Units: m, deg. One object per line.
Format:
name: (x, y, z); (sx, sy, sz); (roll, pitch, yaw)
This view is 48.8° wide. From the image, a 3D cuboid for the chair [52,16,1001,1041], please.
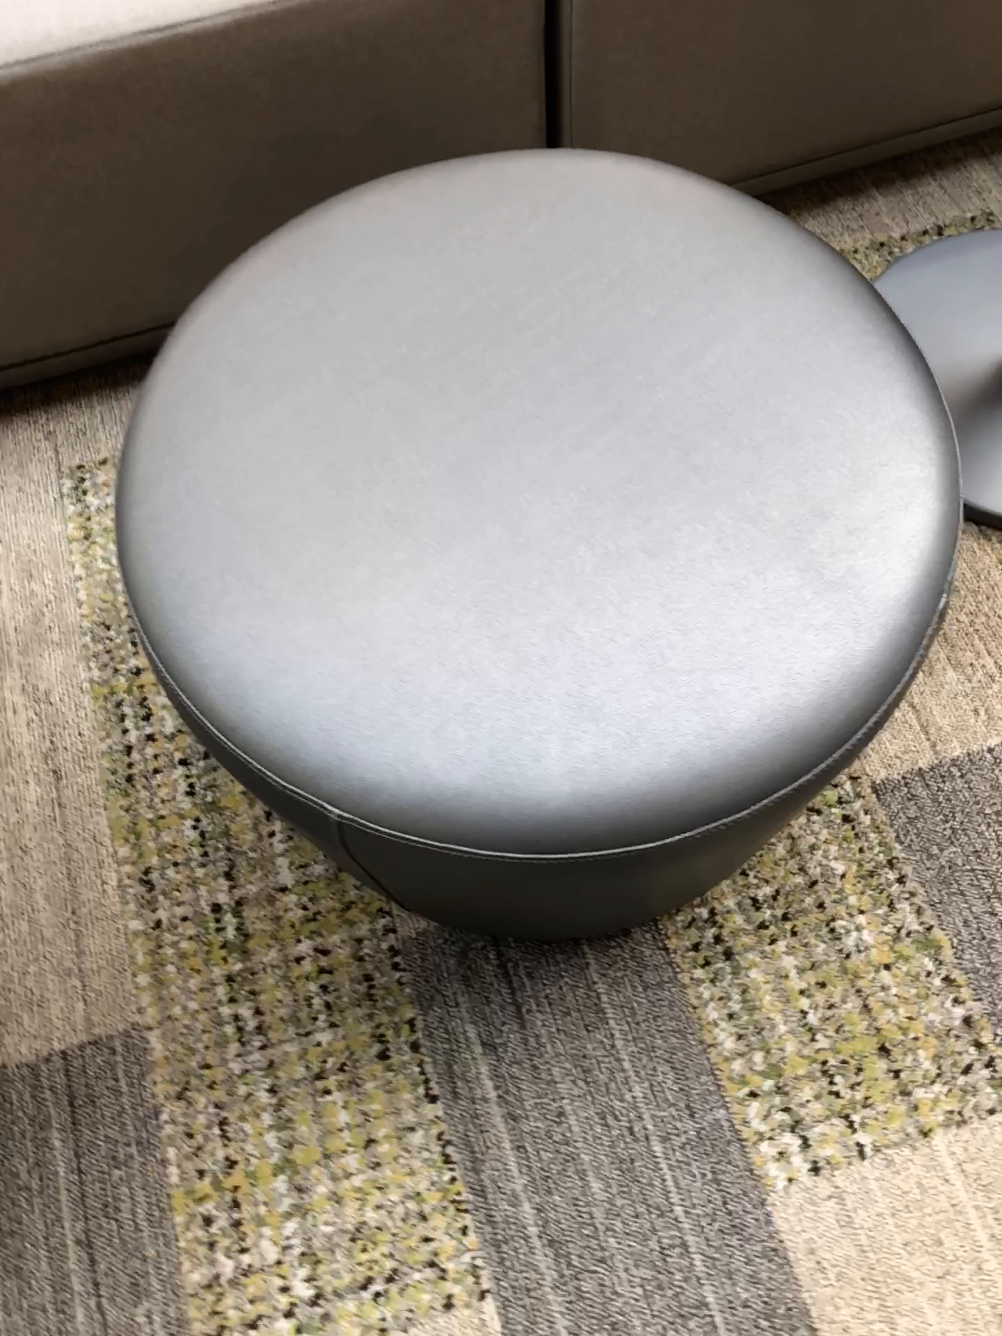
chair: (0.043, -0.090, 0.921); (0.620, 0.459, 0.571); (-13, 63, -3)
